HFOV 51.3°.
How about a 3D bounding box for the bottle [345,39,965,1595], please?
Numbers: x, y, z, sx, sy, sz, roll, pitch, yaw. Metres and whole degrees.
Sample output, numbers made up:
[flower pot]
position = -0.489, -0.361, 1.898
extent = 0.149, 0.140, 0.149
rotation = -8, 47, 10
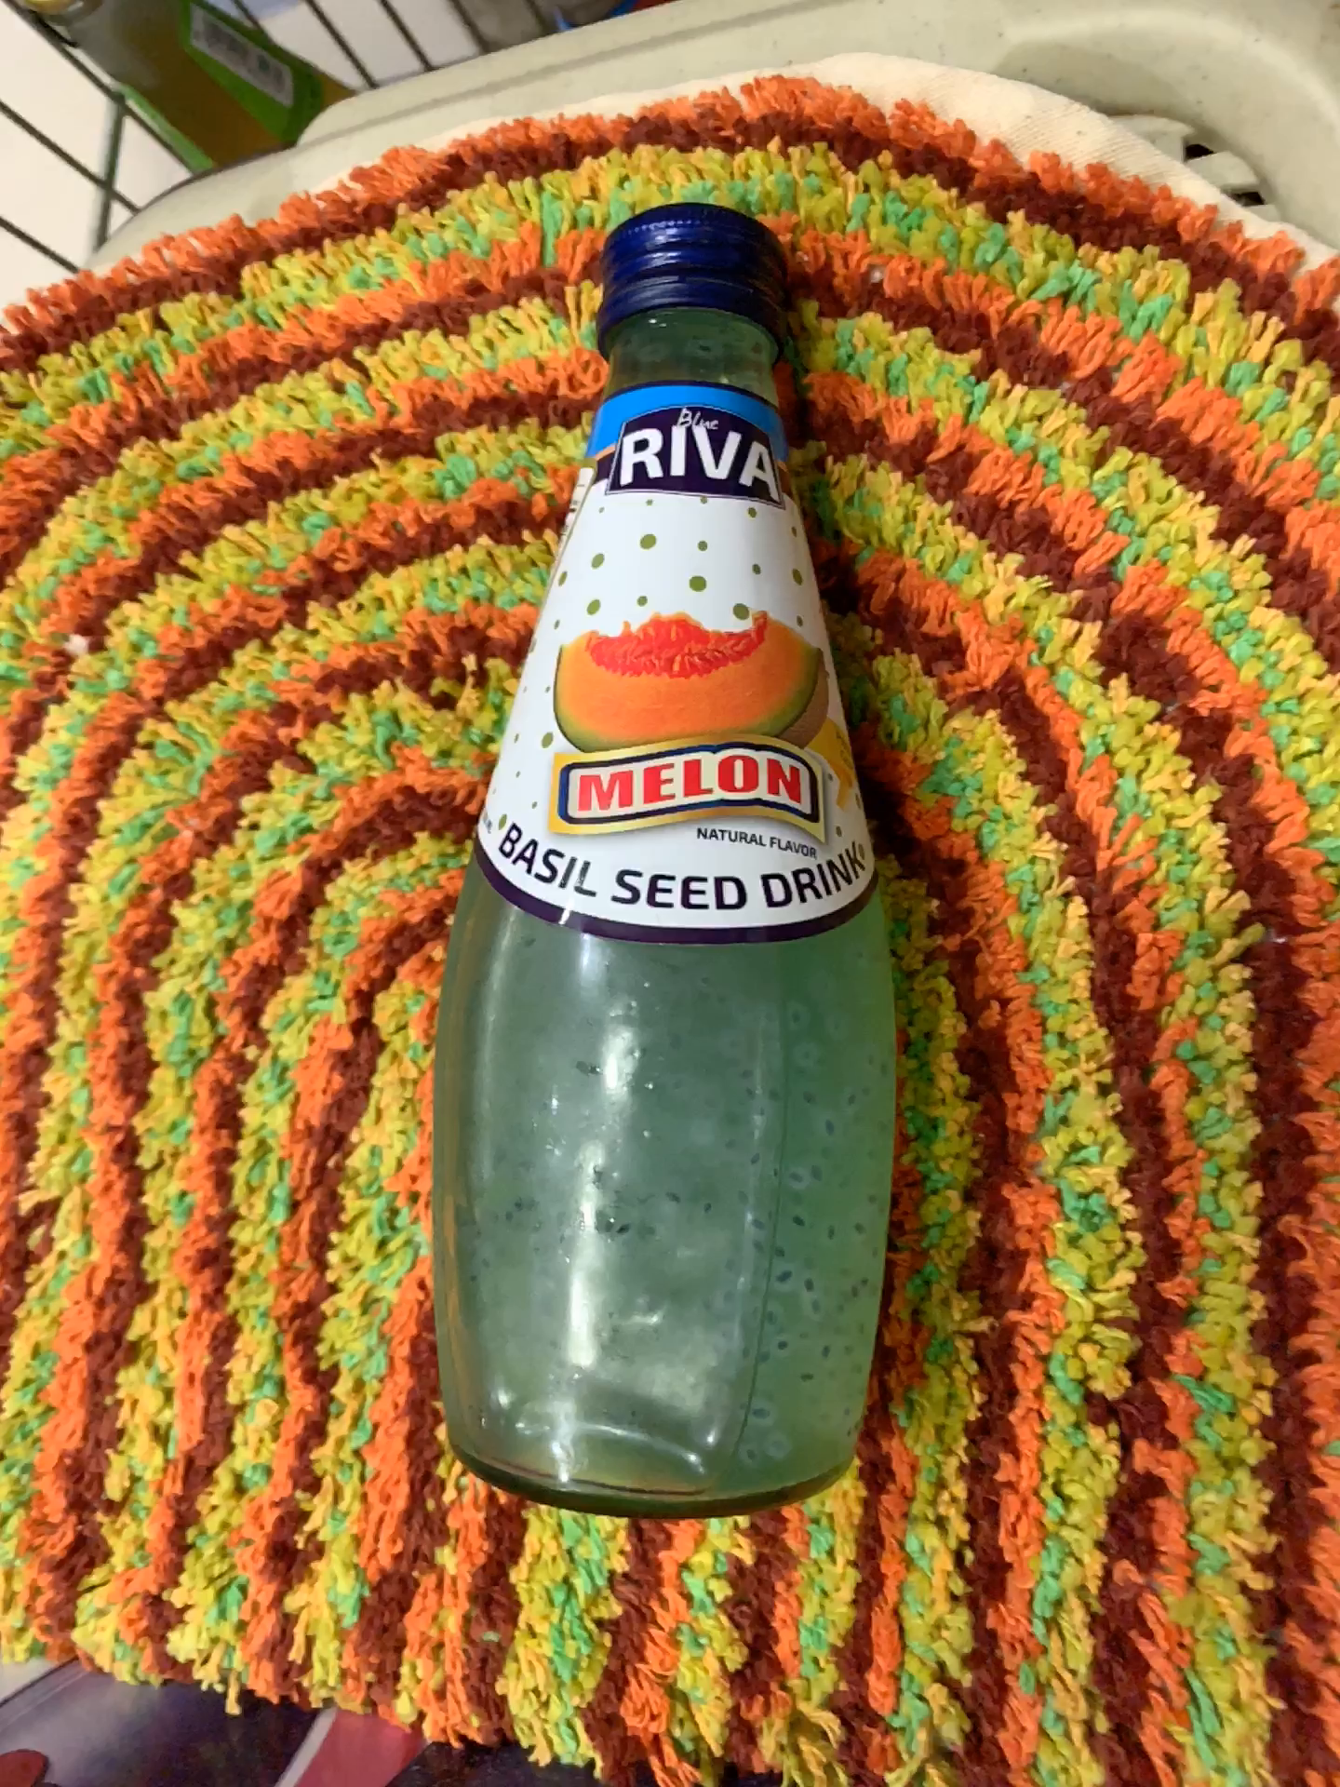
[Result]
[bottle]
position = 0.000, -0.011, 0.192
extent = 0.060, 0.060, 0.180
rotation = 4, 83, 1
